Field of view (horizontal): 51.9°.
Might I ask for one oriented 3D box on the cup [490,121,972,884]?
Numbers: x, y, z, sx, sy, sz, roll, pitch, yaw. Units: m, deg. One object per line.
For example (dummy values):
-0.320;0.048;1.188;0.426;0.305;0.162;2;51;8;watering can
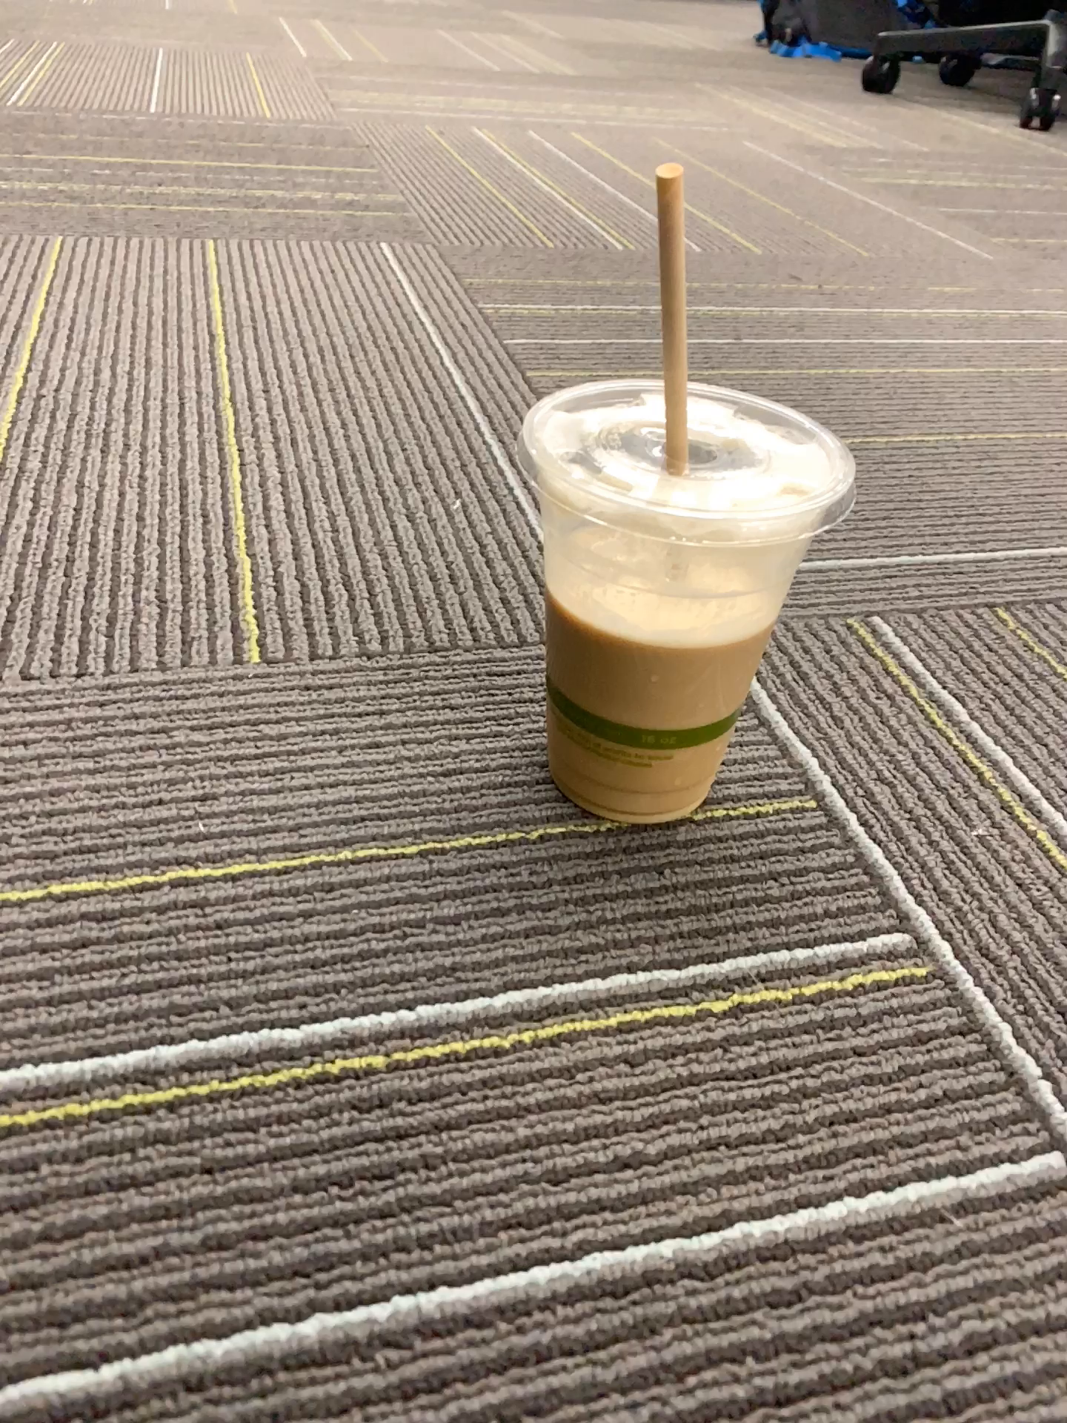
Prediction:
0.042;-0.055;0.319;0.090;0.189;0.091;4;36;-3;cup
